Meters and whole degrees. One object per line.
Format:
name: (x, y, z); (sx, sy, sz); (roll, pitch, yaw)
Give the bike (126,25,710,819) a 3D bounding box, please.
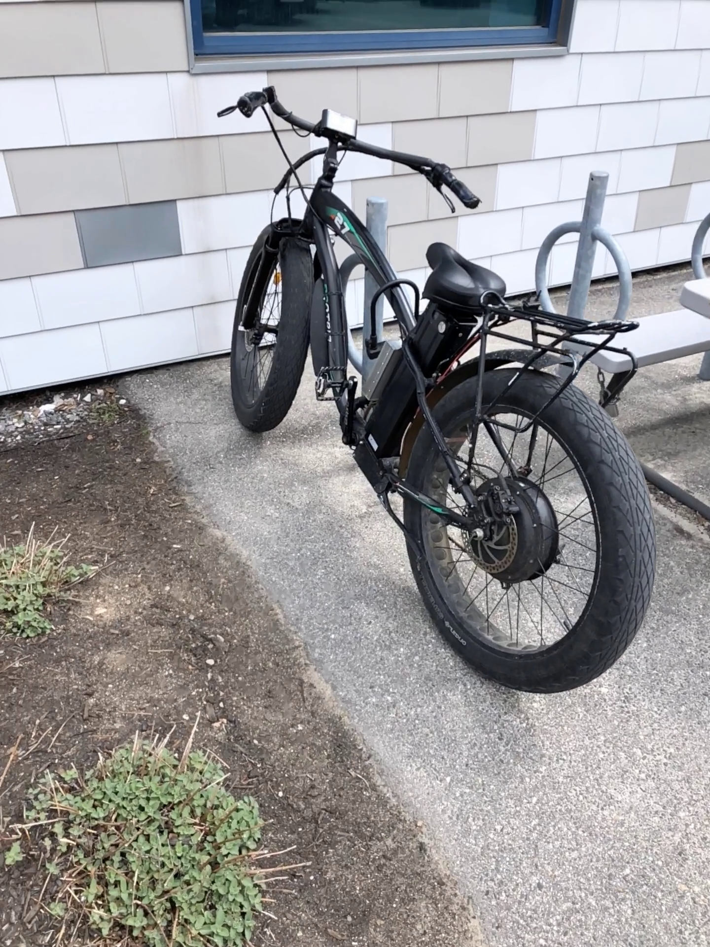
bike: (0.176, -0.400, 2.091); (0.912, 1.132, 1.867); (-16, 40, -24)
